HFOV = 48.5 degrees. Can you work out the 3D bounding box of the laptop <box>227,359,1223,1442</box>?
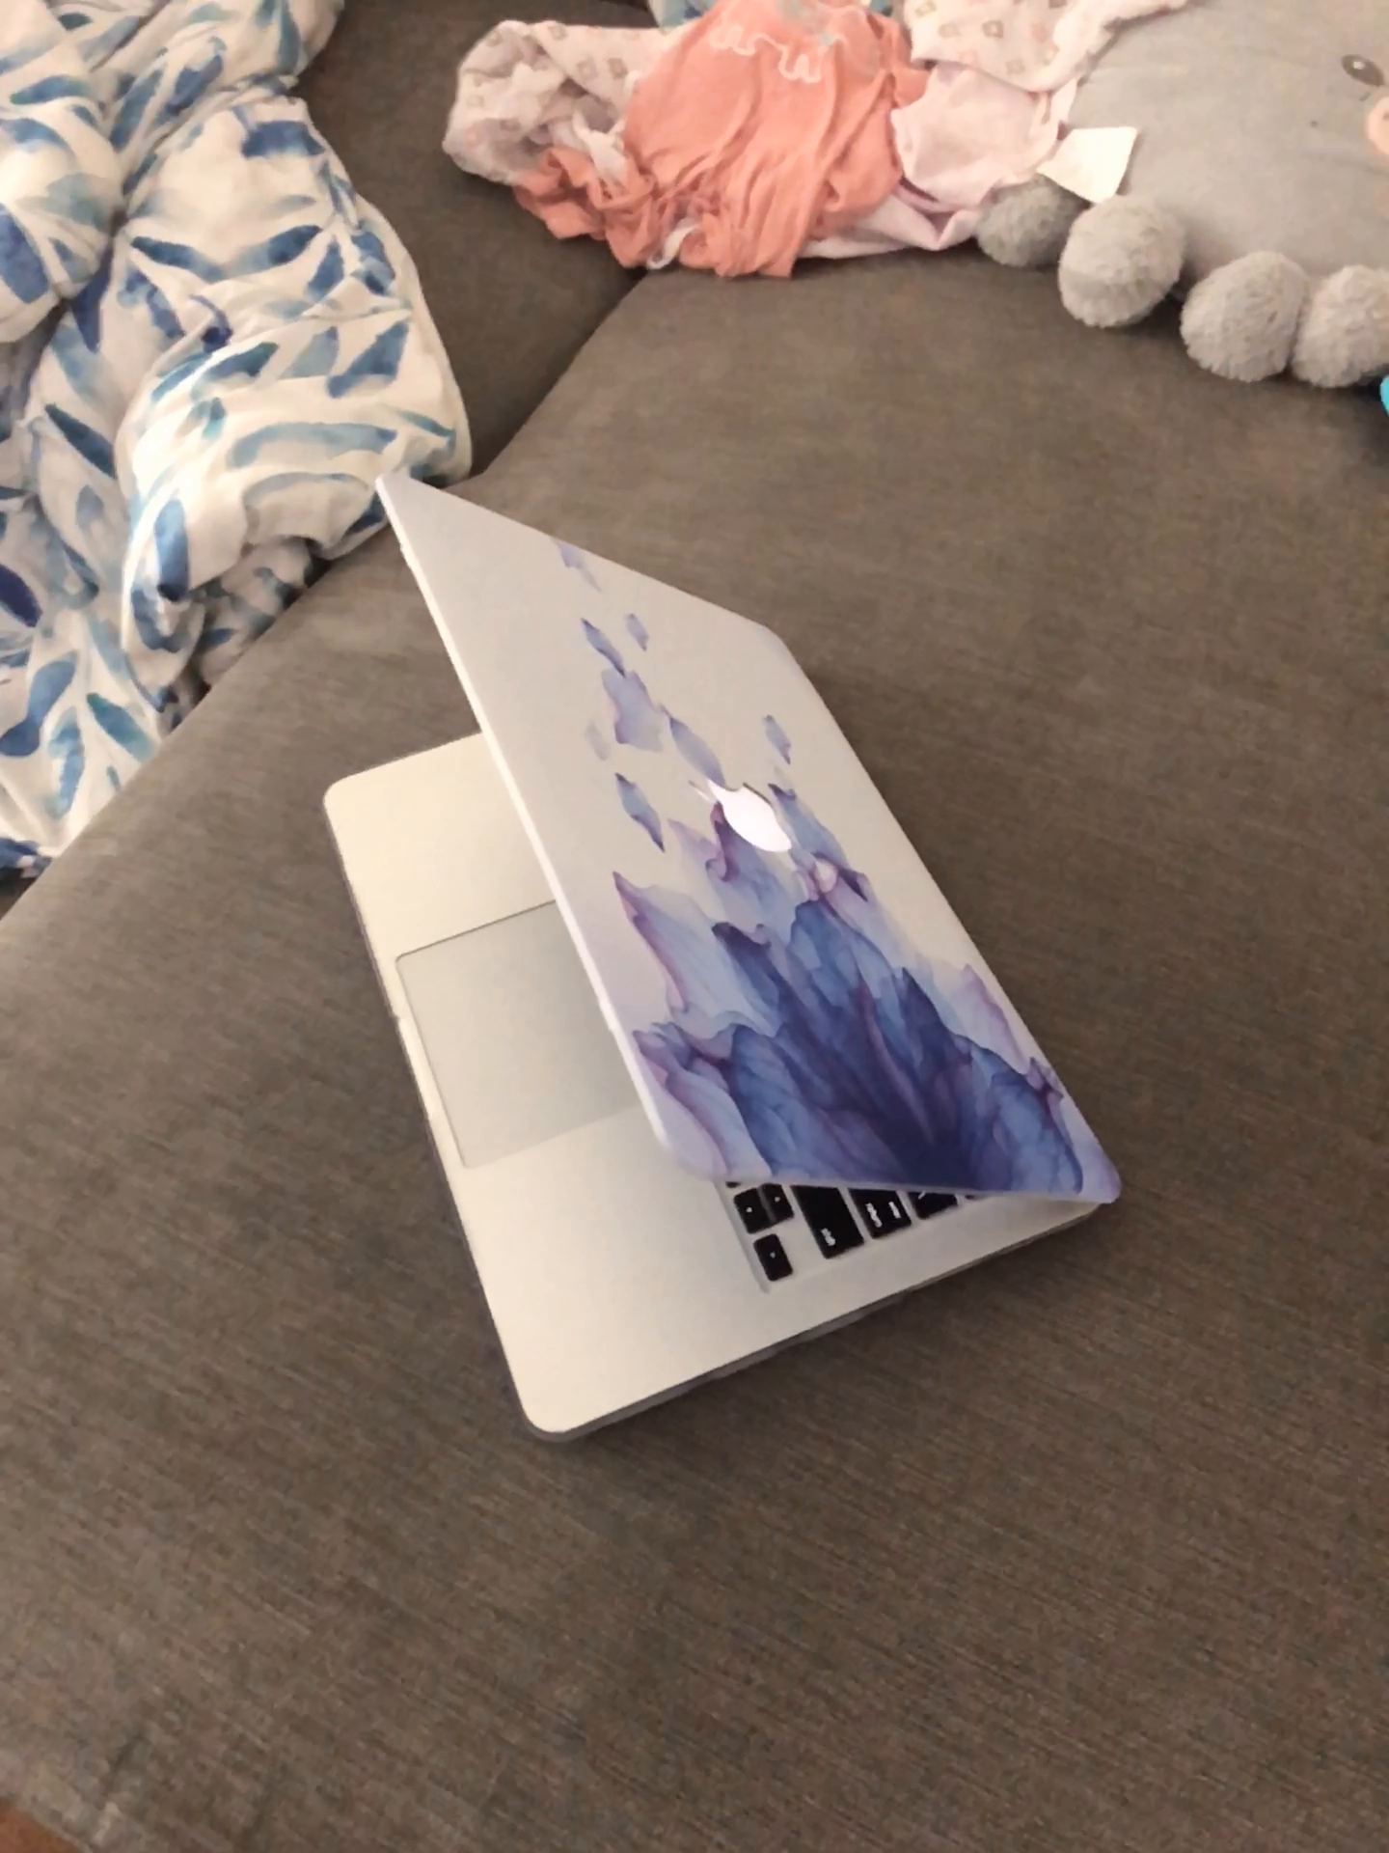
[{"bbox_3d":[-0.010,-0.025,0.549,0.217,0.137,0.309,-20,56,-9],"label":"laptop"}]
